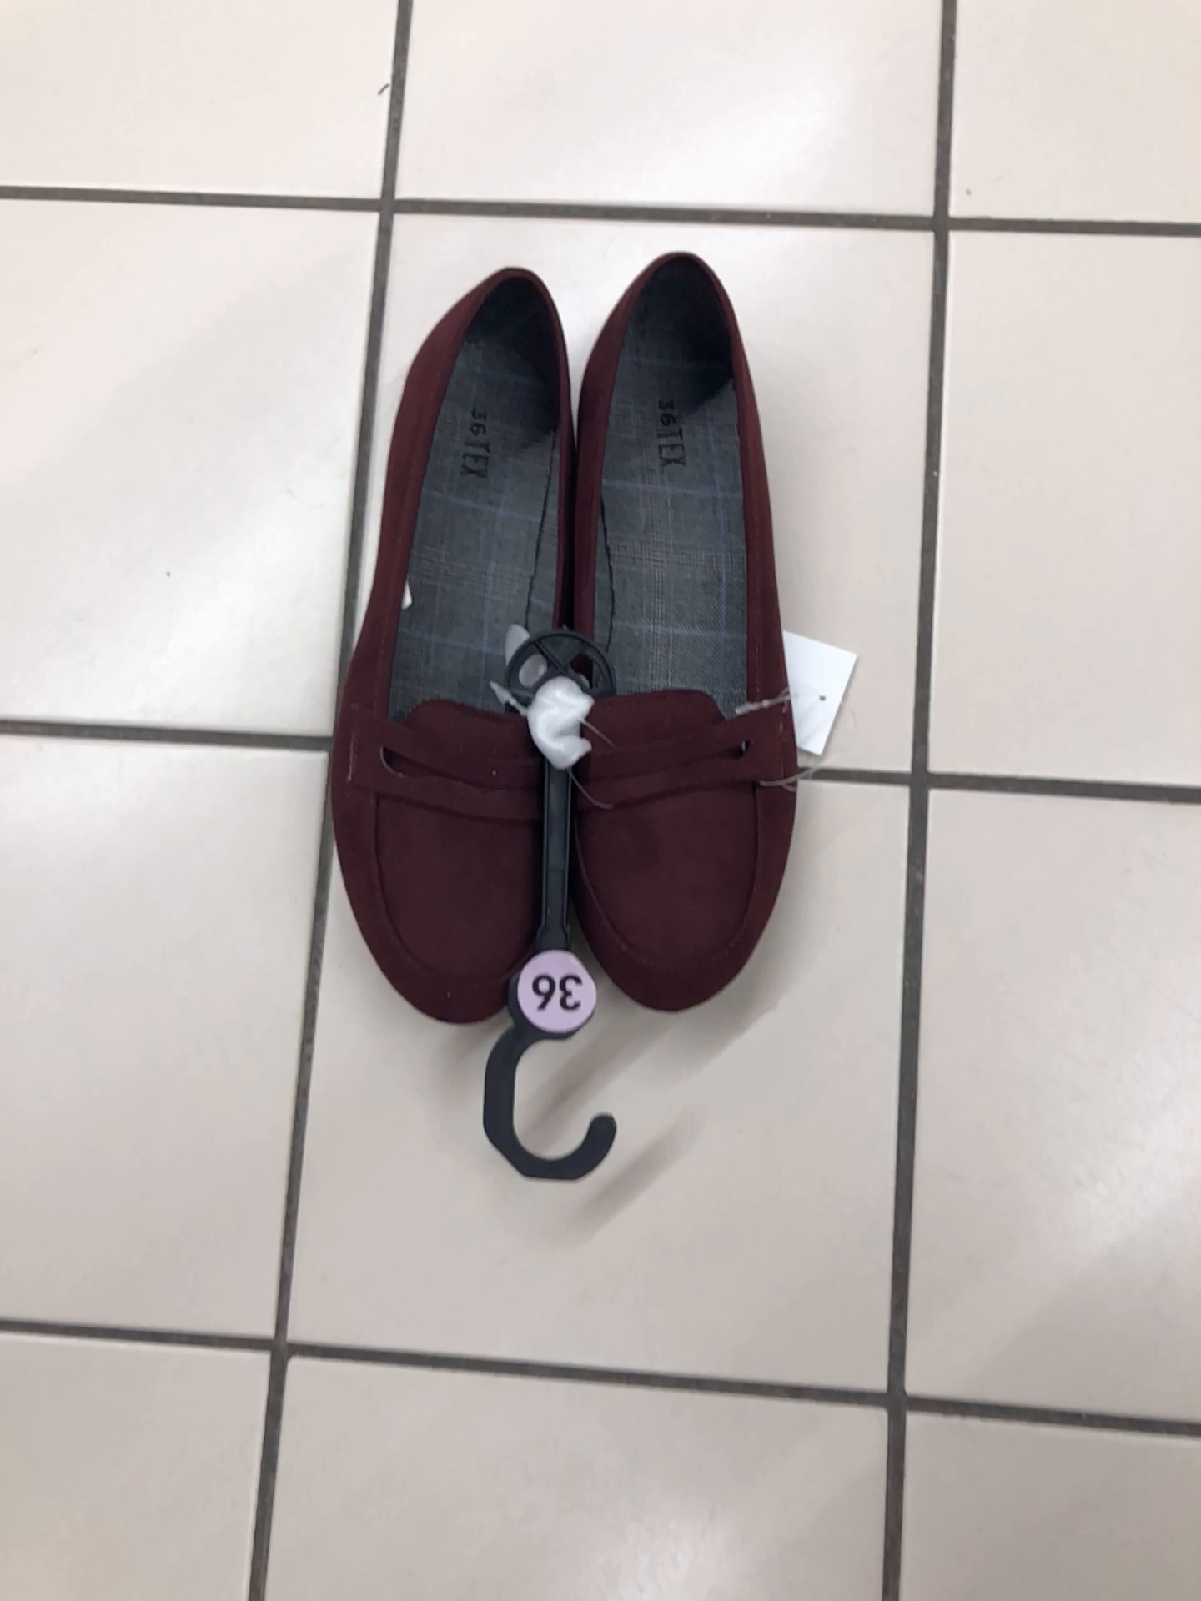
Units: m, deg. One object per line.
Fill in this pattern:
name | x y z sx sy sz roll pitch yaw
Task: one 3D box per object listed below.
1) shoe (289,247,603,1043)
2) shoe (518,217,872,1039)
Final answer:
shoe | -0.044 -0.048 0.419 0.078 0.057 0.239 1 83 4
shoe | 0.027 -0.051 0.416 0.078 0.057 0.239 -6 82 3
